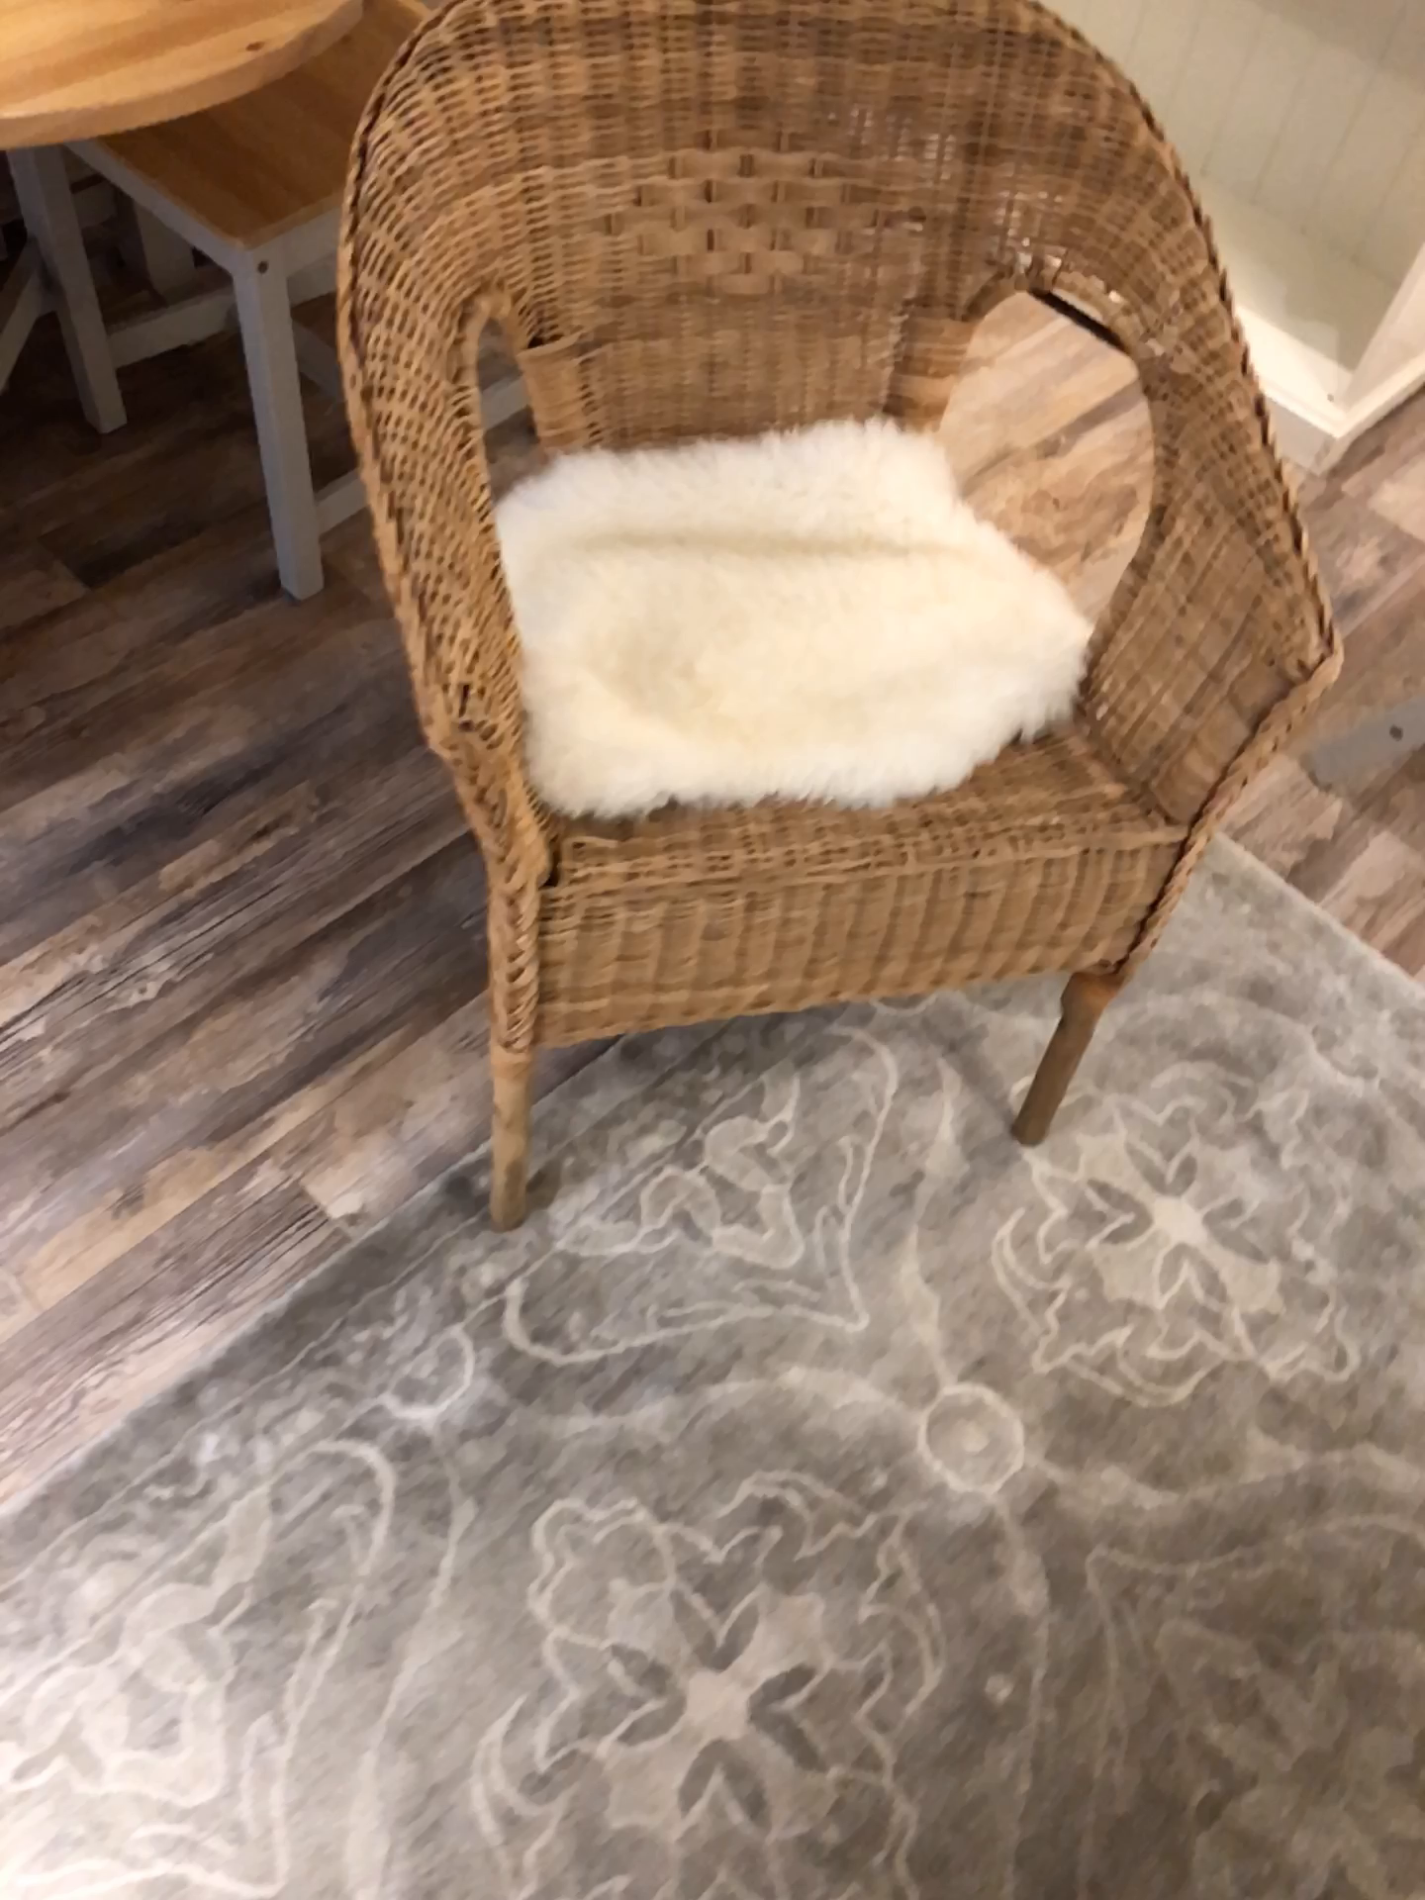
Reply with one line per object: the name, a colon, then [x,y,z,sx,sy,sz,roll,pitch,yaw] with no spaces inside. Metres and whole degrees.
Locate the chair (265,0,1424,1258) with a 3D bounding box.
chair: [0.046,-0.244,1.203,0.650,0.718,0.632,-5,57,-12]
